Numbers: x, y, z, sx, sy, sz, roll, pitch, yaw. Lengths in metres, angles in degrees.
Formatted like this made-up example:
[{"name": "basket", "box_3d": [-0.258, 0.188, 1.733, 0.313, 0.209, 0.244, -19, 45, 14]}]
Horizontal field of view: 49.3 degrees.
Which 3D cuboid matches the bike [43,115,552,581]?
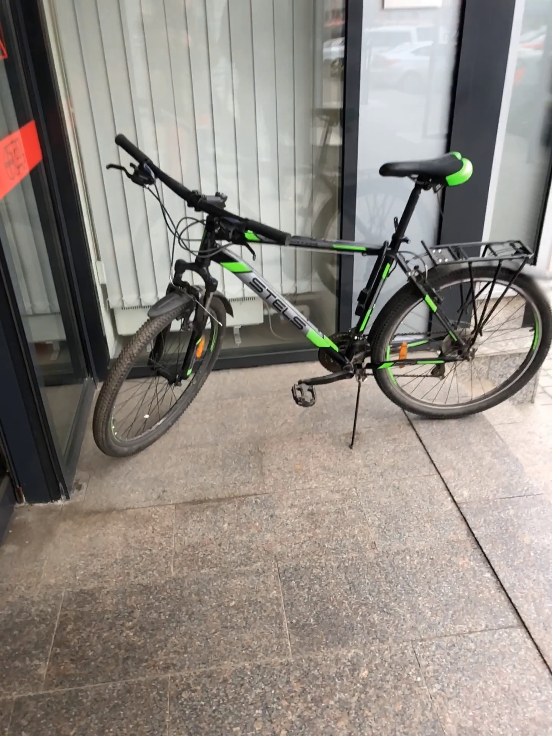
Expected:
[{"name": "bike", "box_3d": [0.228, -0.135, 1.882, 1.545, 1.051, 0.632, -9, 30, -12]}]
